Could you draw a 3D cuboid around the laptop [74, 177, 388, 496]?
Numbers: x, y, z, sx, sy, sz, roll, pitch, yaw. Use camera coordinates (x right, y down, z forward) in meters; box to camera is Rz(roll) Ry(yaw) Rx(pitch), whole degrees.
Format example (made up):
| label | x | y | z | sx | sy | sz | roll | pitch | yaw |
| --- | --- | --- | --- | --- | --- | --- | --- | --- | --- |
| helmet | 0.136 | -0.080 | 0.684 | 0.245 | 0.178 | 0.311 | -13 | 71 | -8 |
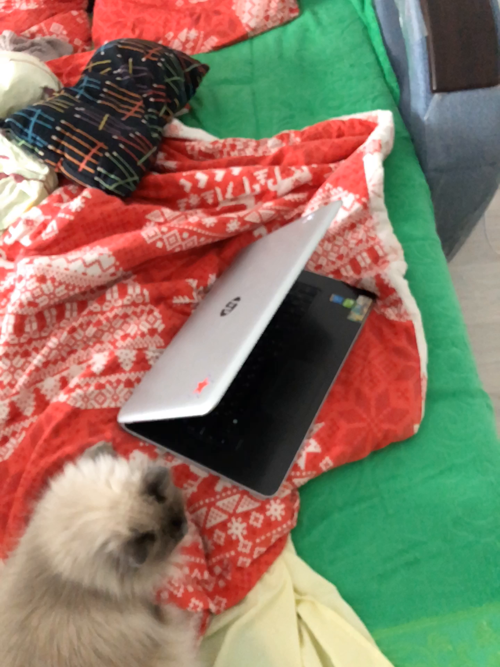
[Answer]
| label | x | y | z | sx | sy | sz | roll | pitch | yaw |
| --- | --- | --- | --- | --- | --- | --- | --- | --- | --- |
| laptop | -0.001 | -0.018 | 0.859 | 0.276 | 0.176 | 0.414 | 21 | 58 | 20 |
